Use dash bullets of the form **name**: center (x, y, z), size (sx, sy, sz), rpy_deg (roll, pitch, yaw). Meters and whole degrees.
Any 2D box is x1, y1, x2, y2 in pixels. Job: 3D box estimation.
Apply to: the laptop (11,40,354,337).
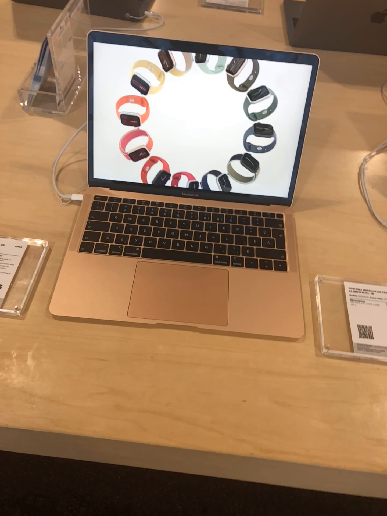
- **laptop**: center (-0.004, -0.092, 0.516), size (0.289, 0.167, 0.298), rpy_deg (6, 52, -2)
